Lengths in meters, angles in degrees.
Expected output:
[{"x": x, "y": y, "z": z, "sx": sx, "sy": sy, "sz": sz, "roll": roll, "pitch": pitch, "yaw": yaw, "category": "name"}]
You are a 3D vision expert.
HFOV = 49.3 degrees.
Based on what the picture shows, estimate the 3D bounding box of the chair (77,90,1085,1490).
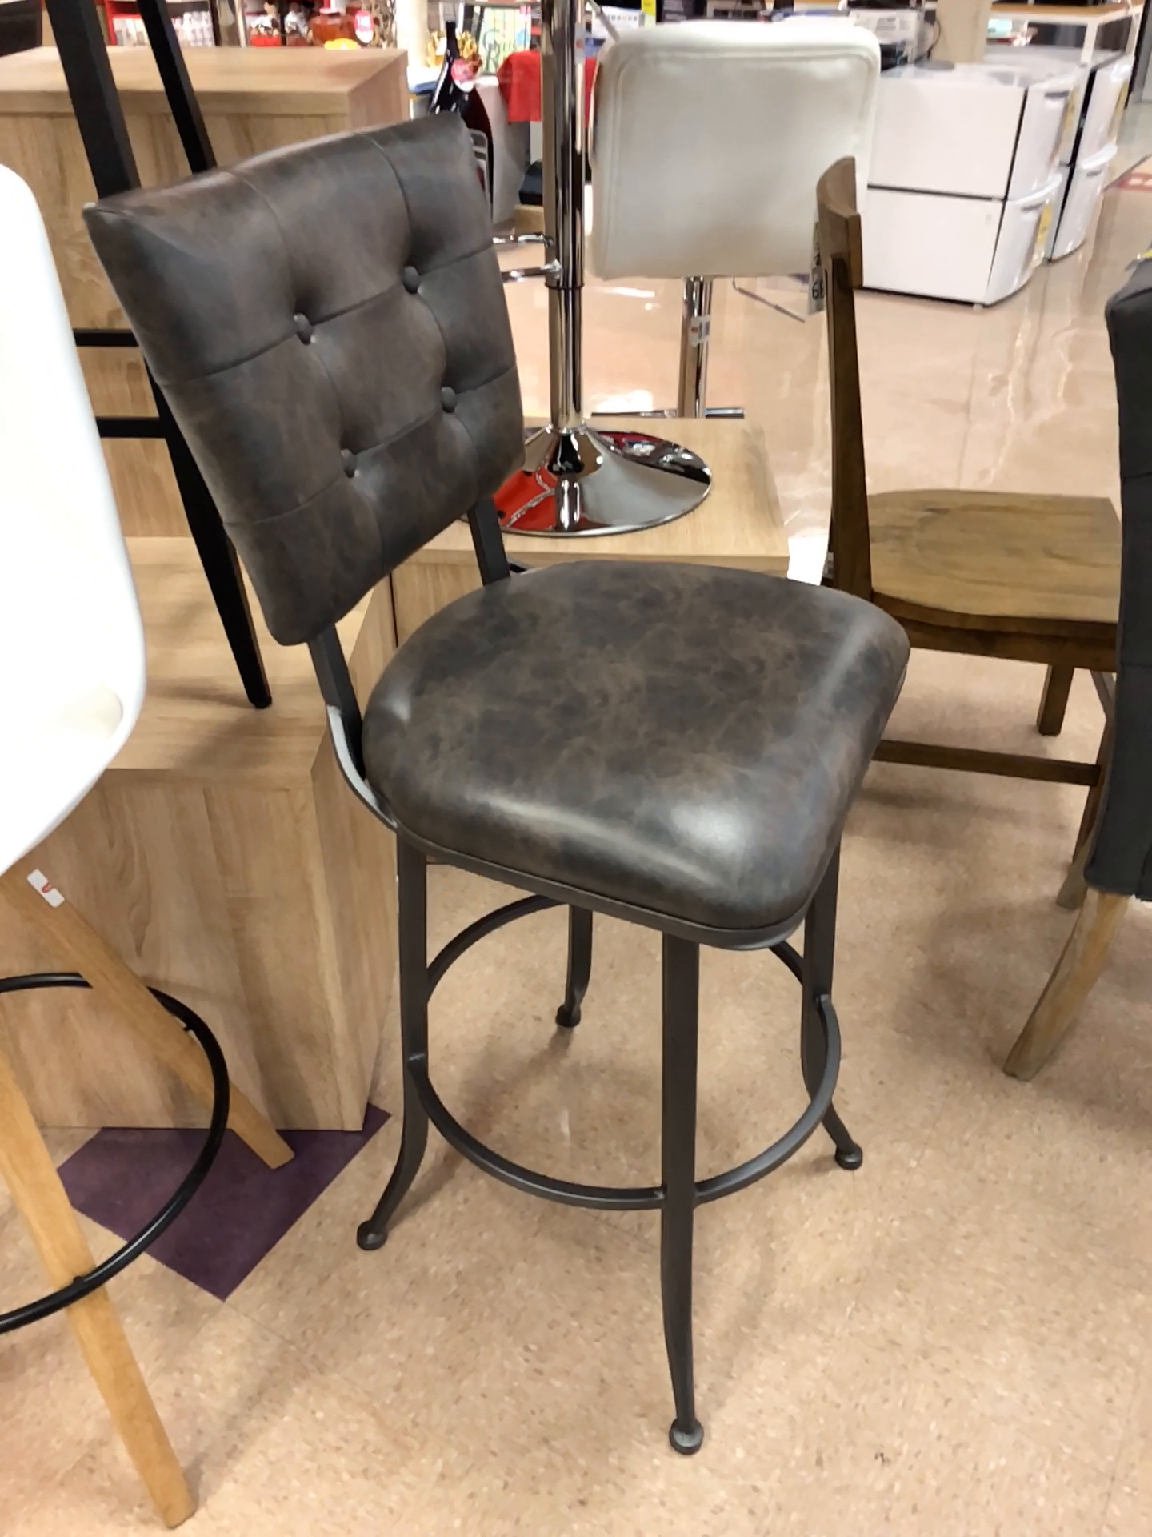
[{"x": 0.051, "y": 0.041, "z": 1.167, "sx": 0.512, "sy": 1.108, "sz": 0.520, "roll": 14, "pitch": 38, "yaw": 21, "category": "chair"}]
